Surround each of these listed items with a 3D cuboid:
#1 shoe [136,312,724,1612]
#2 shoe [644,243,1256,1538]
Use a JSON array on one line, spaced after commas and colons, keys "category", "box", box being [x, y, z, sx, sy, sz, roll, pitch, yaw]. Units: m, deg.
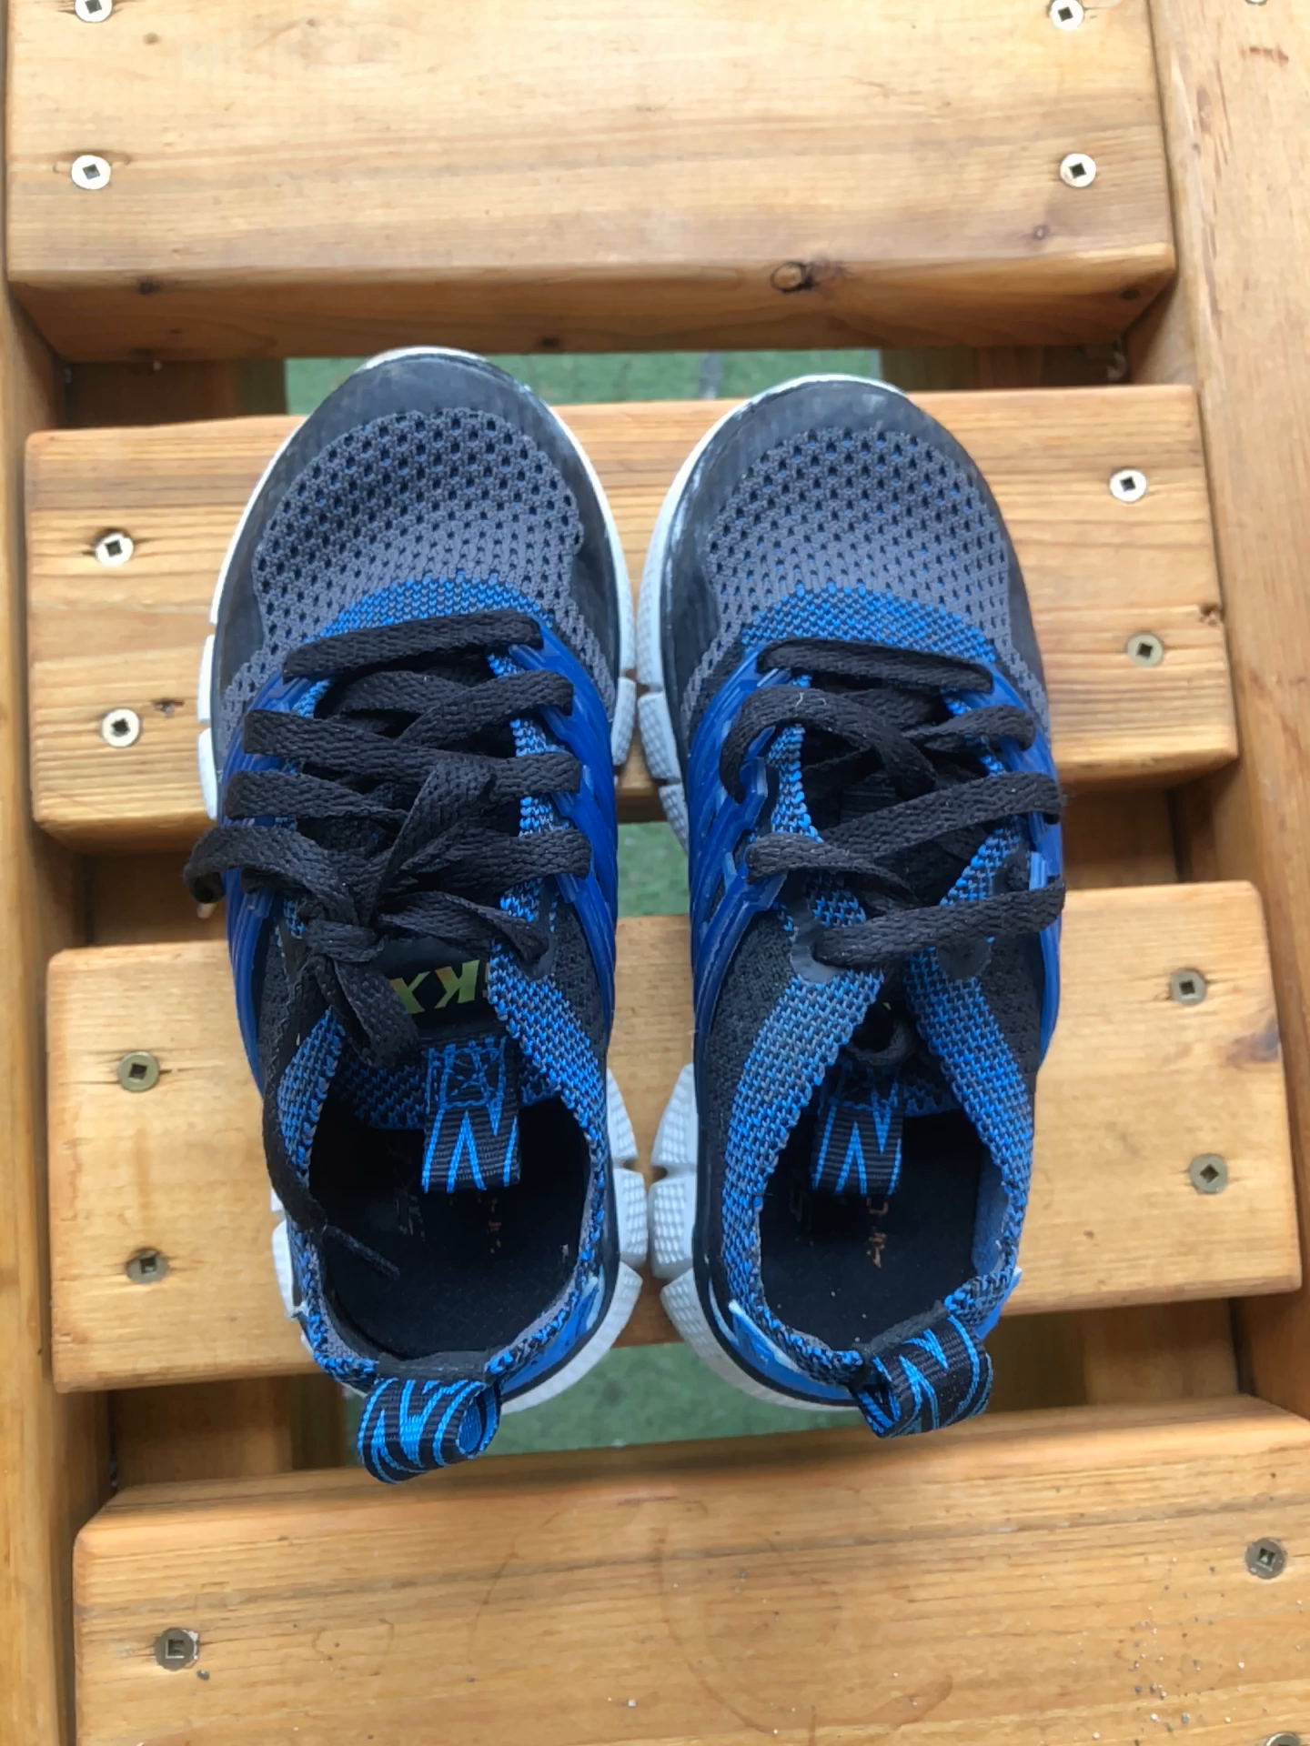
[{"category": "shoe", "box": [-0.041, 0.013, 0.280, 0.080, 0.100, 0.200, -4, 85, -5]}, {"category": "shoe", "box": [0.042, 0.003, 0.266, 0.080, 0.100, 0.190, 0, 84, -4]}]
